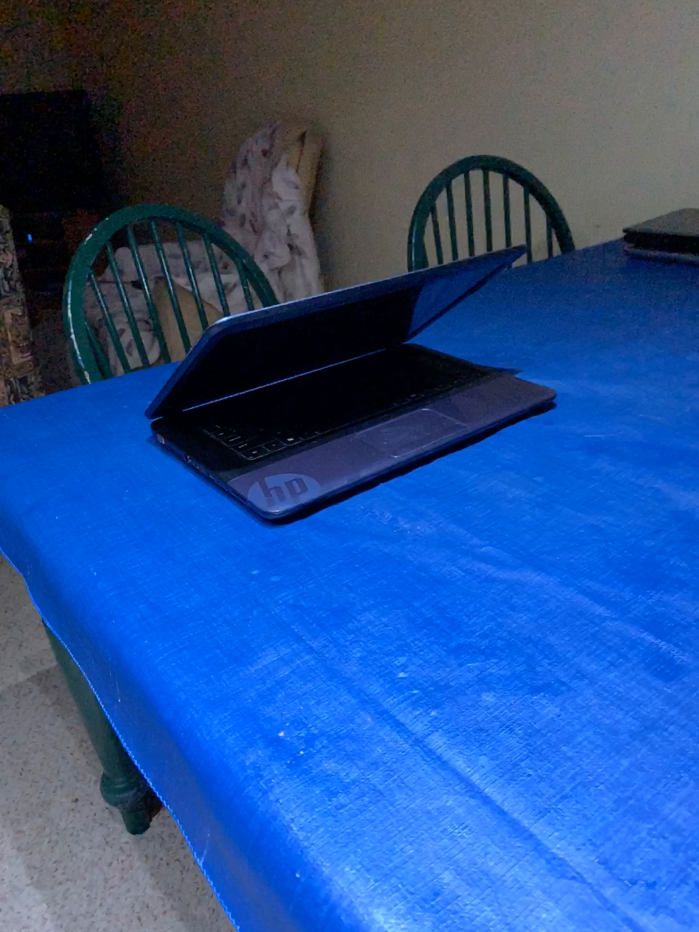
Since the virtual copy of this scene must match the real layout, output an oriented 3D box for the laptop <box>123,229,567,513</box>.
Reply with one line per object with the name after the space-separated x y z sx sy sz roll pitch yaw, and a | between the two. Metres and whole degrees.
0.002 -0.126 0.734 0.364 0.141 0.240 -22 33 -31 | laptop
